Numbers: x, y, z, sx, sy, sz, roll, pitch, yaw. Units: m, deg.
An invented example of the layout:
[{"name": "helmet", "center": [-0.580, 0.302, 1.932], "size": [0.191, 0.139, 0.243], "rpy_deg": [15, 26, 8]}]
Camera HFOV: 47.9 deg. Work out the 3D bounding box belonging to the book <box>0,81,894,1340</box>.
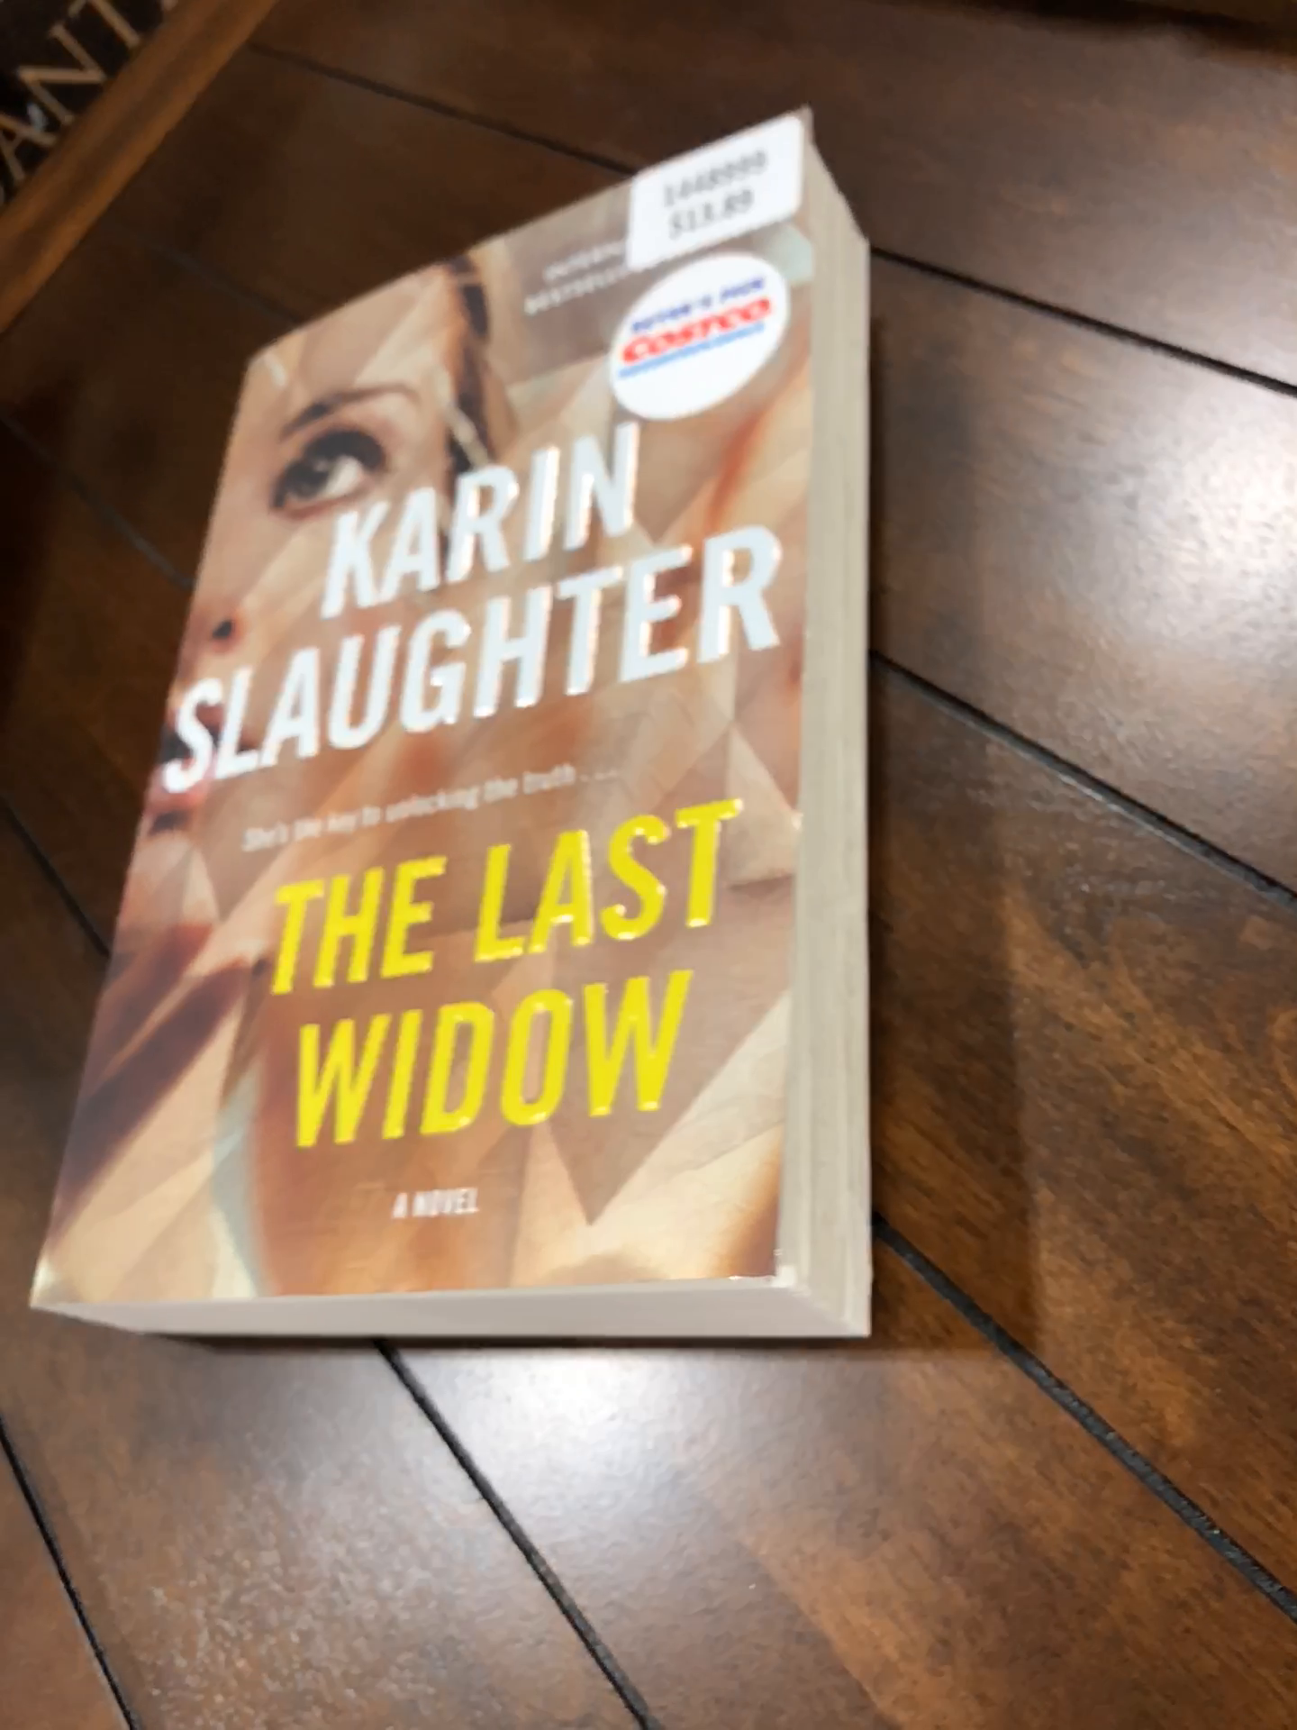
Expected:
[{"name": "book", "center": [-0.033, -0.030, 0.290], "size": [0.154, 0.042, 0.230], "rpy_deg": [-11, 60, 29]}]
